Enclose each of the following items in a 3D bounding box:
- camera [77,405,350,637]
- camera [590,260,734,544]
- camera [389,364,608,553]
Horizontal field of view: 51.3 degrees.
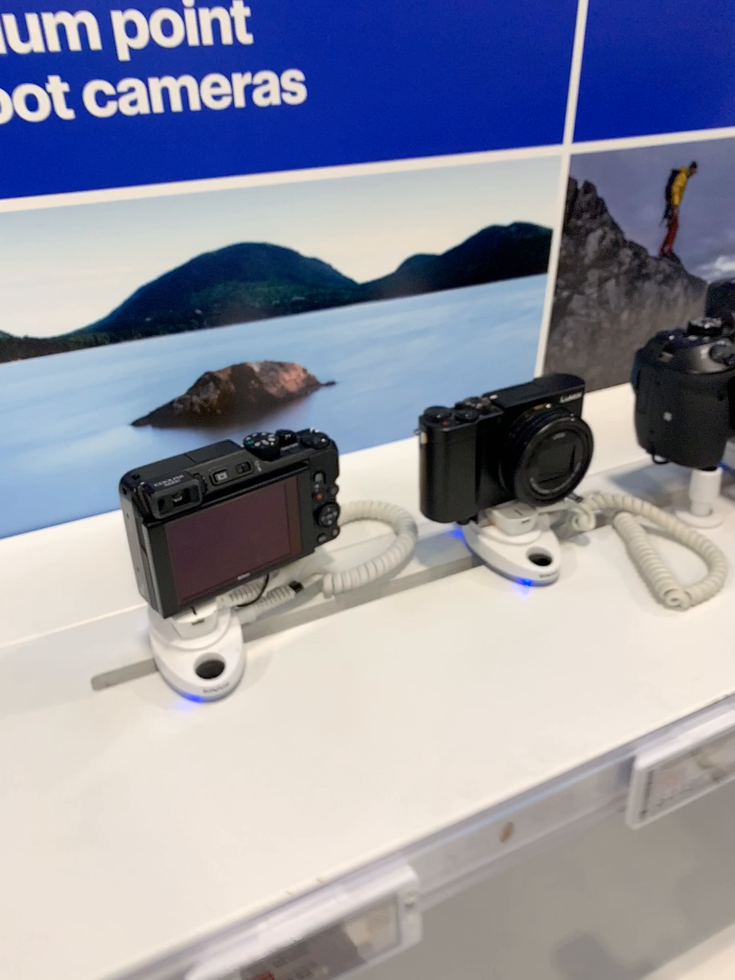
[{"bbox_3d":[-0.075,0.011,0.397,0.120,0.070,0.050,-21,33,-28],"label":"camera"},{"bbox_3d":[0.256,-0.066,0.475,0.160,0.099,0.151,-16,31,-21],"label":"camera"},{"bbox_3d":[0.074,-0.021,0.440,0.110,0.070,0.050,-16,31,-21],"label":"camera"}]
